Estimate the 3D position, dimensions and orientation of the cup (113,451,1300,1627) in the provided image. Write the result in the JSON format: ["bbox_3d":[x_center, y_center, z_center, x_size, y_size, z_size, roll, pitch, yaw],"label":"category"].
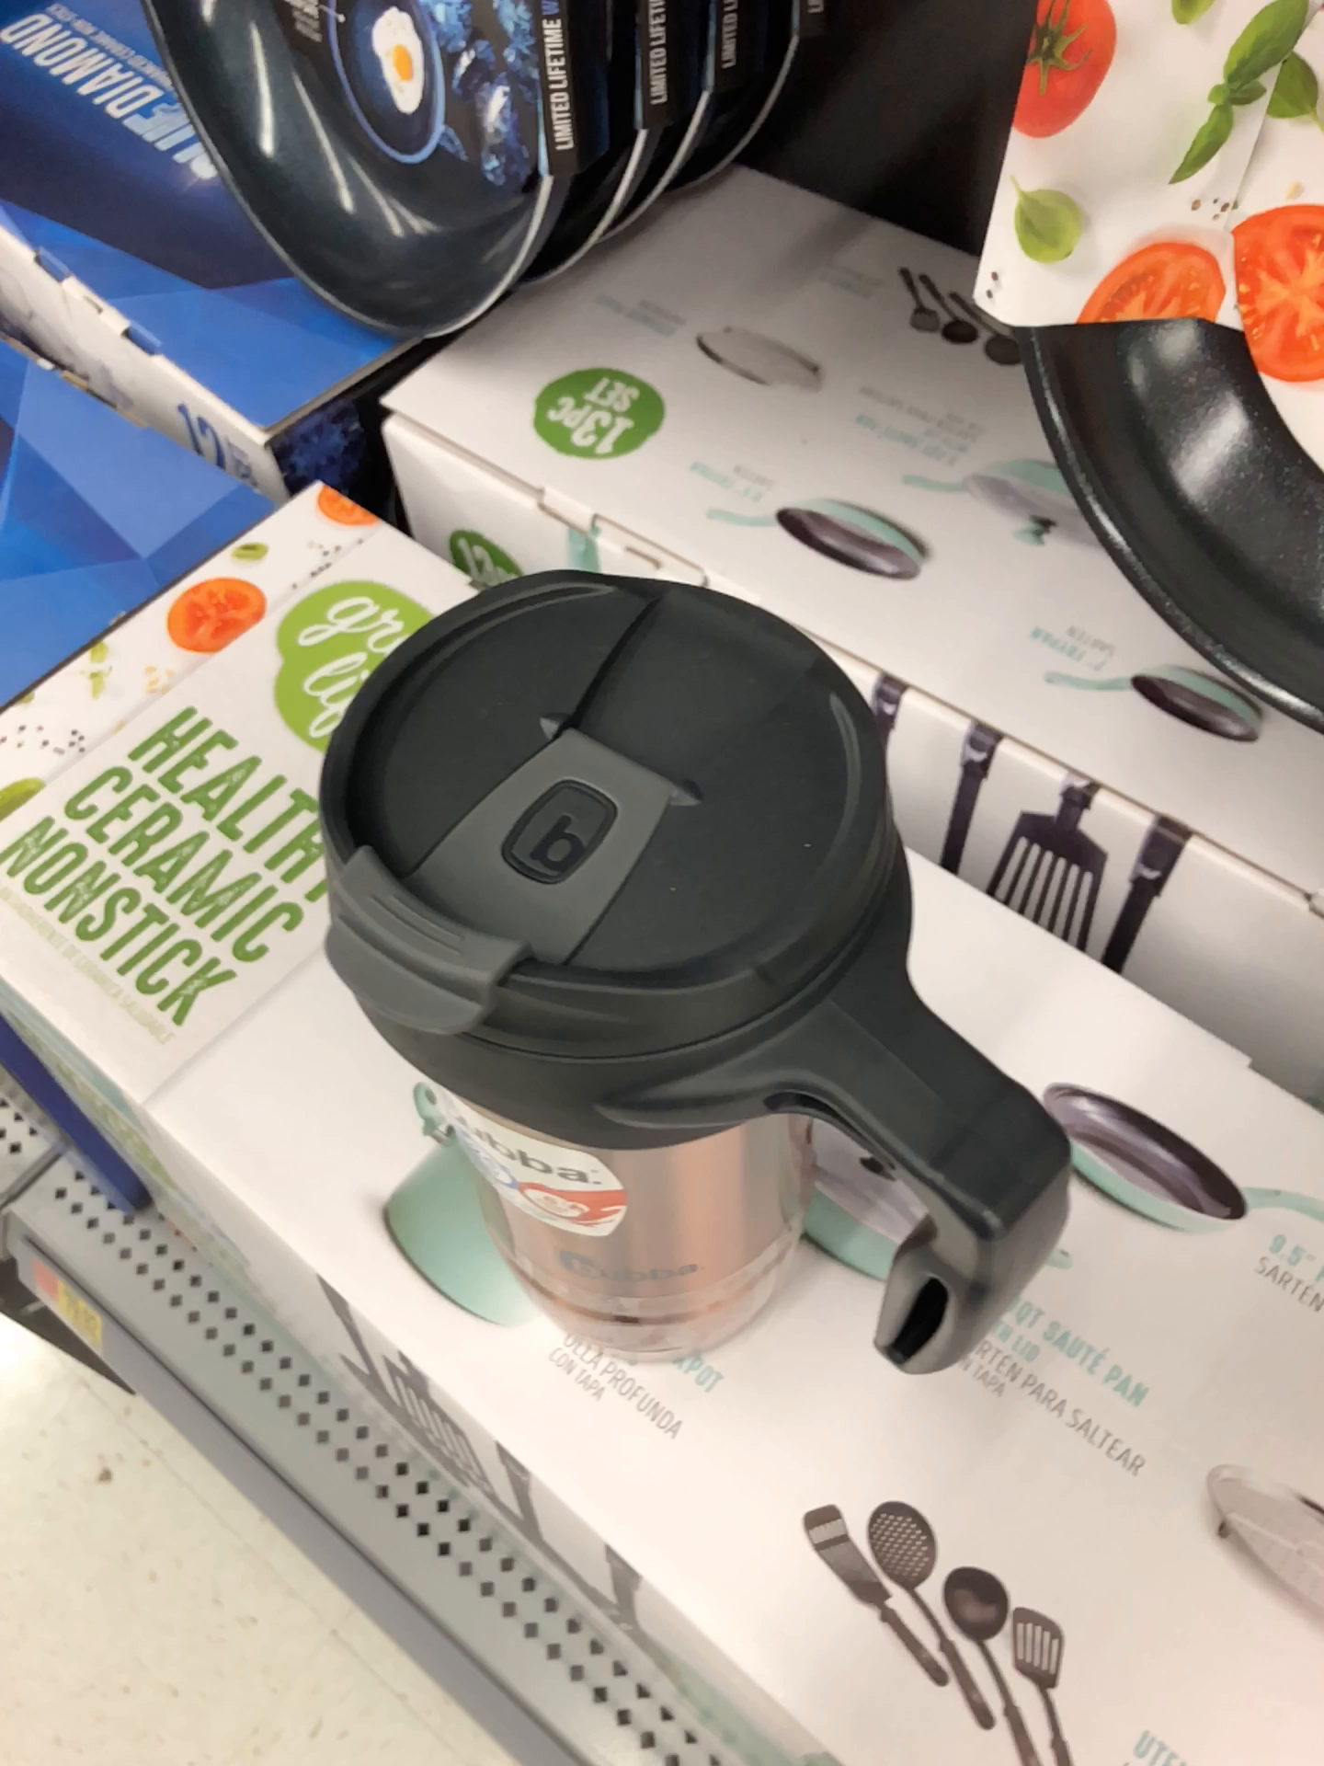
[{"bbox_3d":[0.008,0.042,0.287,0.143,0.182,0.093,35,66,24],"label":"cup"}]
